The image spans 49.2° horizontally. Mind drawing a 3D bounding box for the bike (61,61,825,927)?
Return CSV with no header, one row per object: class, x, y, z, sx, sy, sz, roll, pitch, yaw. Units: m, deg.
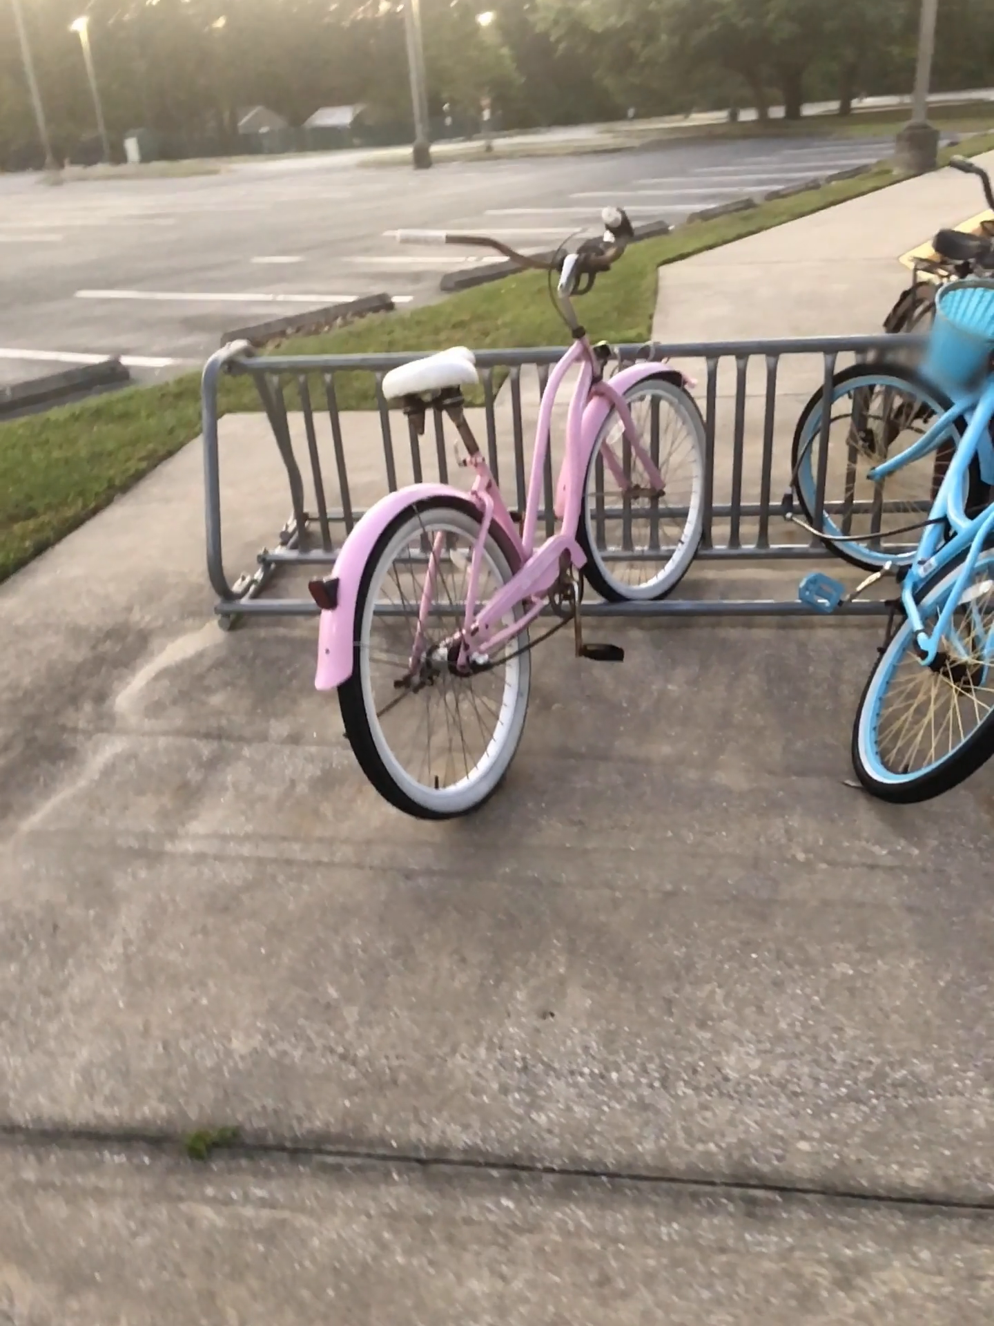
bike,0.060,-0.550,2.487,0.839,1.116,1.660,11,36,28
